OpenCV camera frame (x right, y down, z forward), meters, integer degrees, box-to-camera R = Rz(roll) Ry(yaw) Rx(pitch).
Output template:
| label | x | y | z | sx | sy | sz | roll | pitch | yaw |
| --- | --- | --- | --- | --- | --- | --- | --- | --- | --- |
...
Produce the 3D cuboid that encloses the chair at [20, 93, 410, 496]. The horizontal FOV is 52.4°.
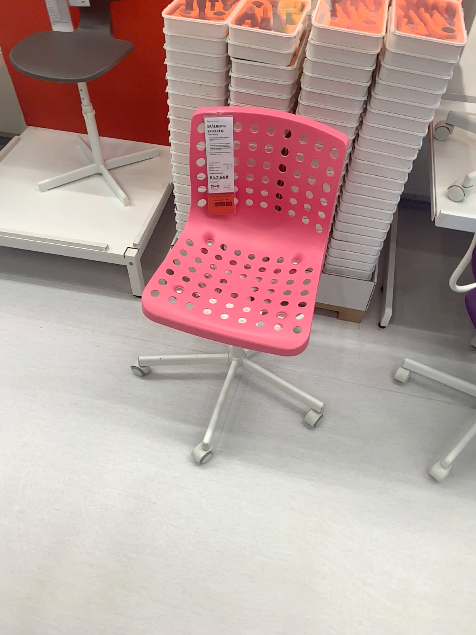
| label | x | y | z | sx | sy | sz | roll | pitch | yaw |
| --- | --- | --- | --- | --- | --- | --- | --- | --- | --- |
| chair | 0.009 | -0.068 | 1.313 | 0.670 | 0.688 | 0.692 | 13 | 50 | 9 |
